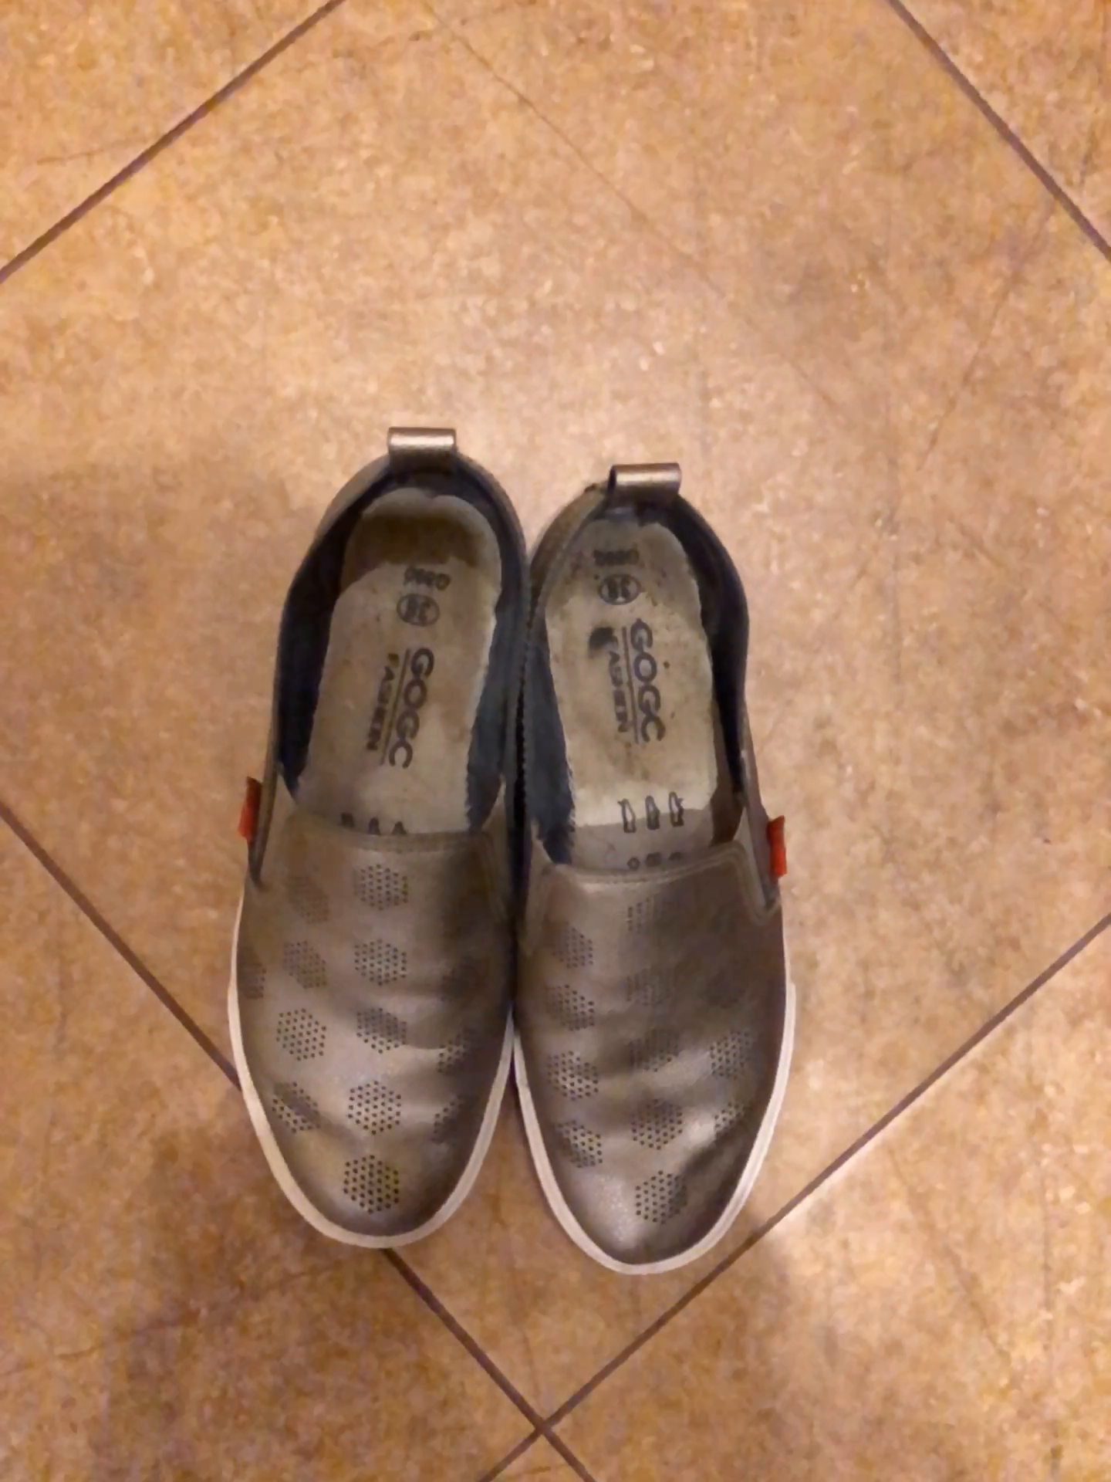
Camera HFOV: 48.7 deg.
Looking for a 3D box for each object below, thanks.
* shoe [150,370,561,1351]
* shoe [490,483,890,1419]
[{"bbox_3d":[-0.054,0.032,0.369,0.090,0.100,0.250,4,89,-3],"label":"shoe"},{"bbox_3d":[0.032,0.054,0.373,0.100,0.110,0.240,-1,89,-3],"label":"shoe"}]
